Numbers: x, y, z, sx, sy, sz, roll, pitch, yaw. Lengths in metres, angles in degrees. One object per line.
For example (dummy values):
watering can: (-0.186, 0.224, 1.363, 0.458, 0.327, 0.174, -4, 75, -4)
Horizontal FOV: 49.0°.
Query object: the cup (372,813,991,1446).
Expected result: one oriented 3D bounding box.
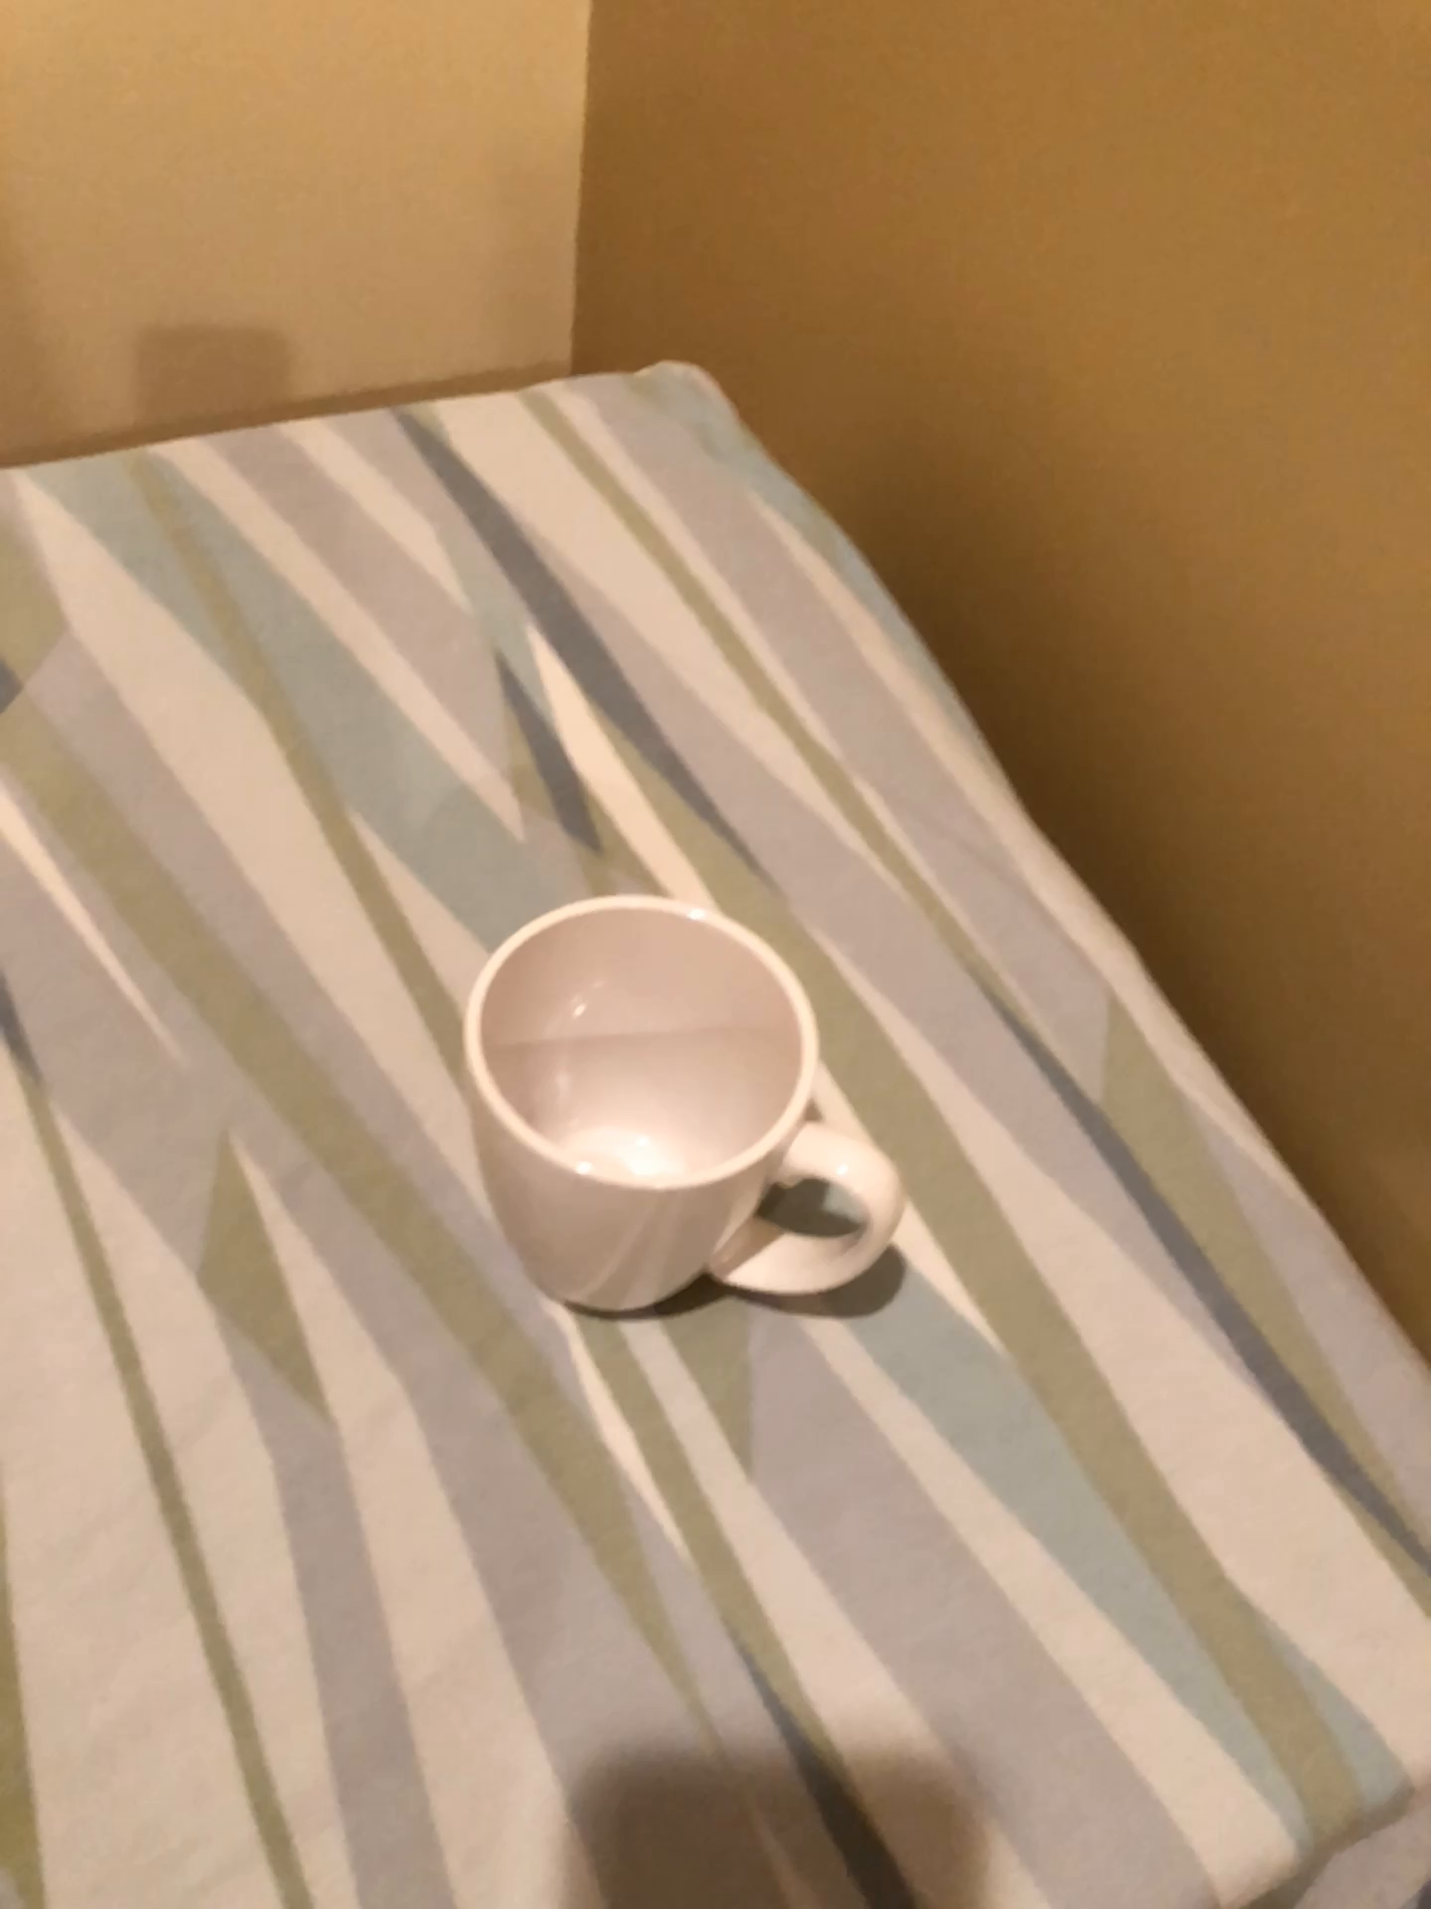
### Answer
cup: (-0.010, 0.045, 0.405, 0.120, 0.090, 0.090, 22, 53, 10)
